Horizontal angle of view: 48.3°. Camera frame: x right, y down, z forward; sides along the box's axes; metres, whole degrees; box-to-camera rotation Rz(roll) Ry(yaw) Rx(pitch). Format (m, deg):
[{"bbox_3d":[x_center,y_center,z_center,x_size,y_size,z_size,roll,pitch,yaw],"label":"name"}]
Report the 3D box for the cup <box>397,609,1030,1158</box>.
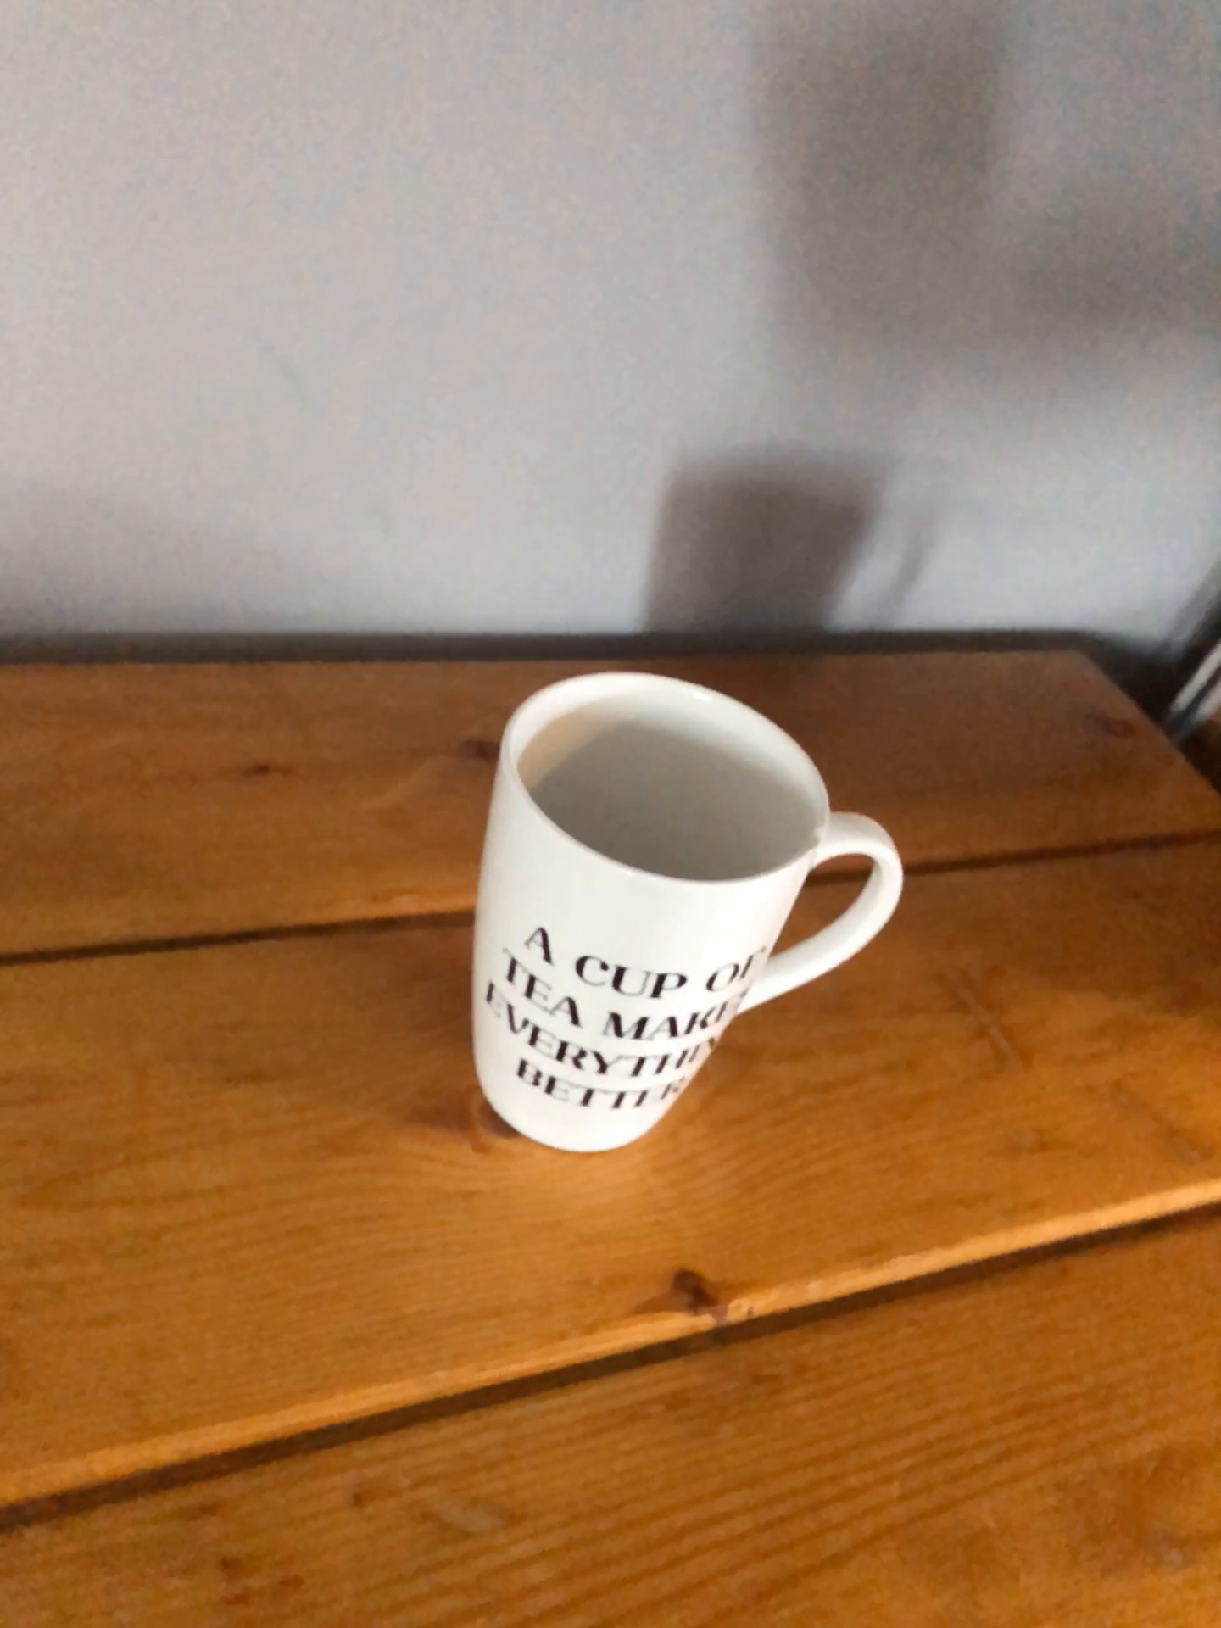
[{"bbox_3d":[0.019,0.024,0.407,0.140,0.120,0.100,3,43,-18],"label":"cup"}]
